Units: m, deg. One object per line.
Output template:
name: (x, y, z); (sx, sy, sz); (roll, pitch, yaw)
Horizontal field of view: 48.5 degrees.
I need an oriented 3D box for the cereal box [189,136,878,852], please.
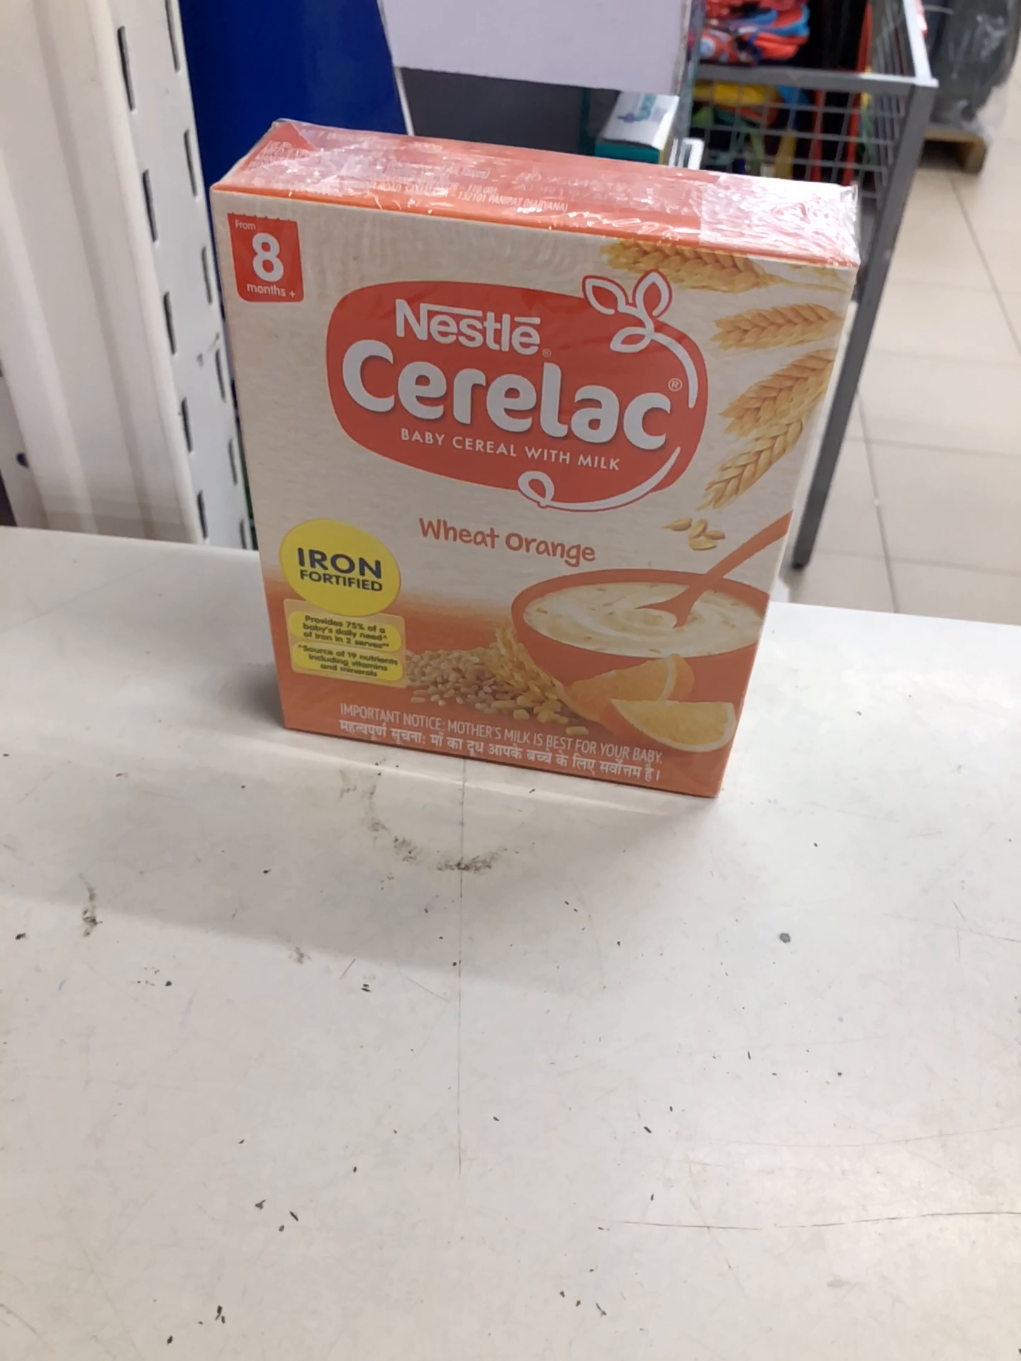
cereal box: (0.003, -0.044, 0.344); (0.160, 0.199, 0.050); (9, 43, 6)
